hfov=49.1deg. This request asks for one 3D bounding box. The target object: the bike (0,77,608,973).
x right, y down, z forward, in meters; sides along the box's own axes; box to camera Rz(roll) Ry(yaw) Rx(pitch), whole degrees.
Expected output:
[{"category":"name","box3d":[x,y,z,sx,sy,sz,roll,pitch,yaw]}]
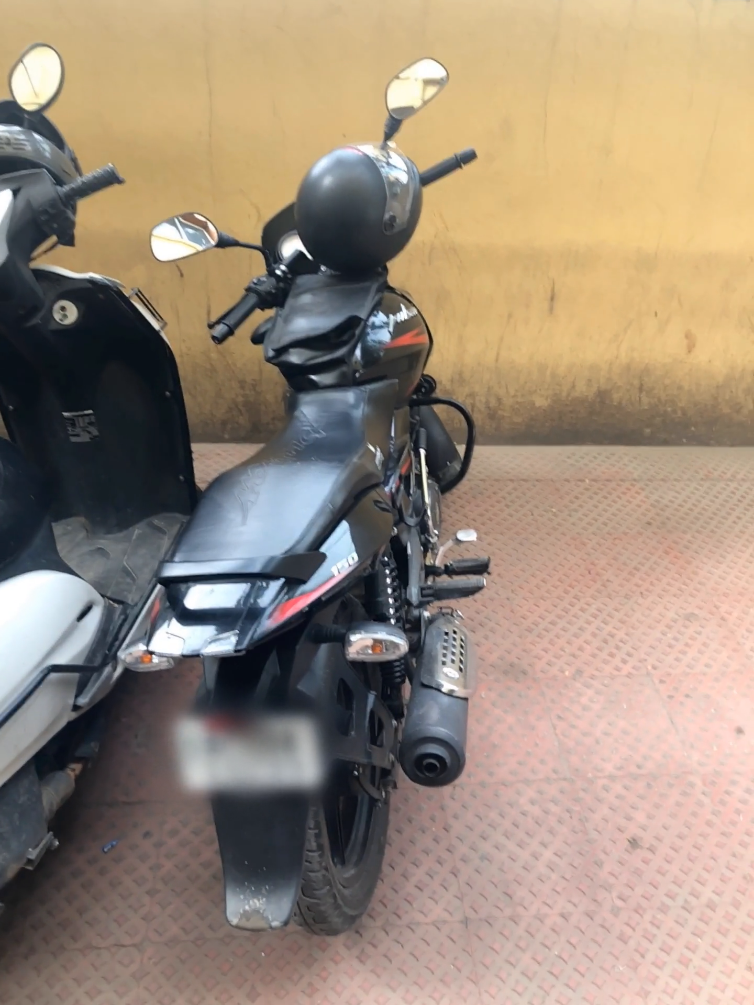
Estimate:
[{"category":"bike","box3d":[-0.248,-0.137,1.773,0.826,1.056,1.613,2,36,-3]}]
